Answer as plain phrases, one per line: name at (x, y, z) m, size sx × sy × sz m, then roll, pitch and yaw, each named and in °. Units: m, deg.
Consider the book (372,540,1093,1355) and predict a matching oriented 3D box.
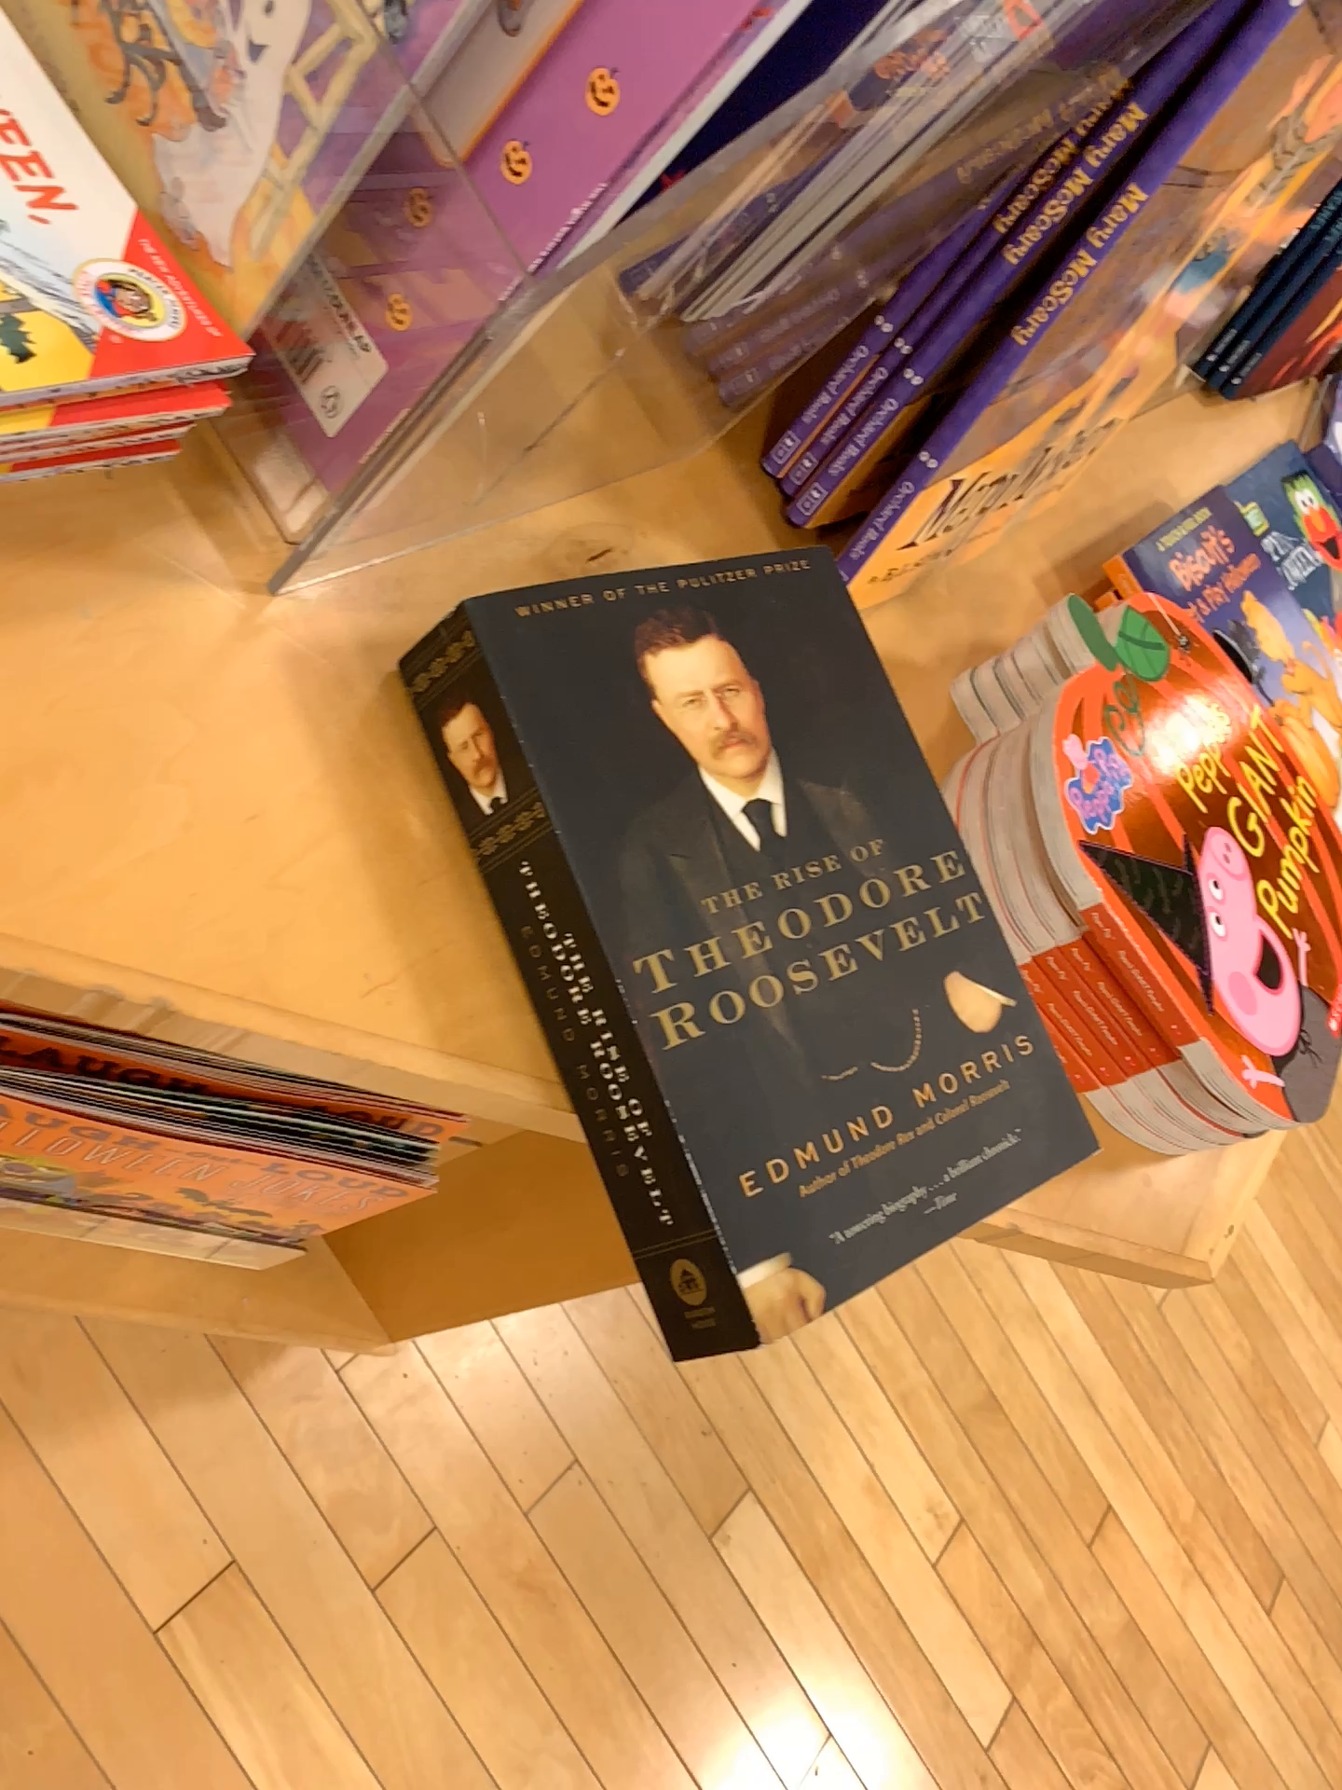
book at (0.020, 0.005, 0.389) m, size 0.131 × 0.066 × 0.195 m, roll -16°, pitch 81°, yaw -44°
